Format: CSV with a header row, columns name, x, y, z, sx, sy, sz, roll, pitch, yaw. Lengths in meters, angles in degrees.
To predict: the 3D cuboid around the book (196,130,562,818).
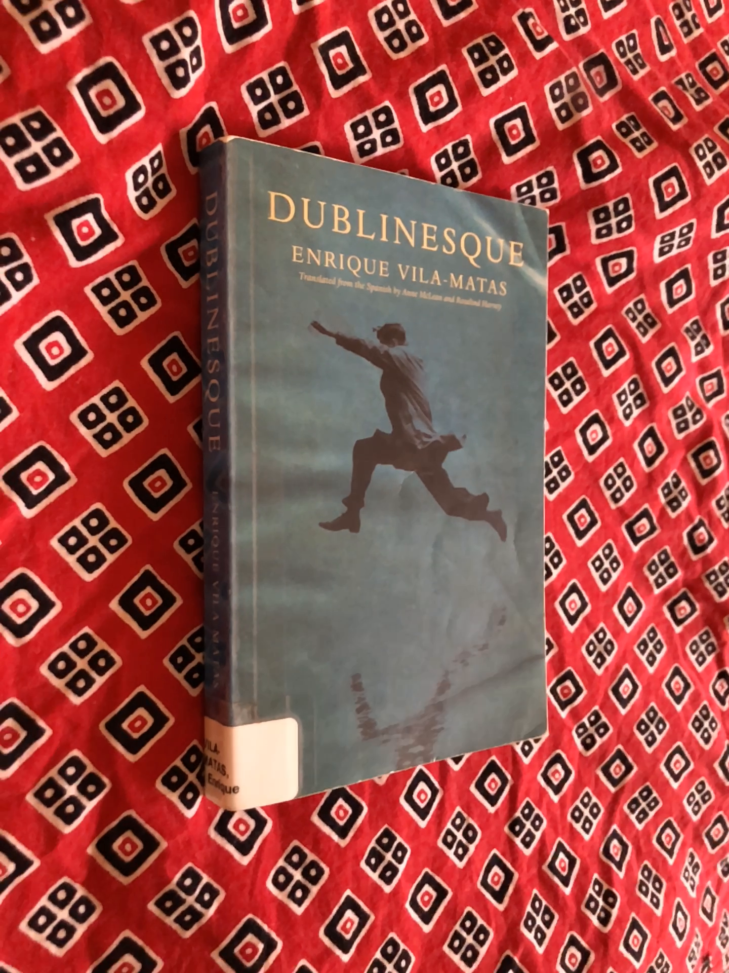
name,x,y,z,sx,sy,sz,roll,pitch,yaw
book,0.011,-0.003,0.285,0.138,0.020,0.203,-1,92,-32
